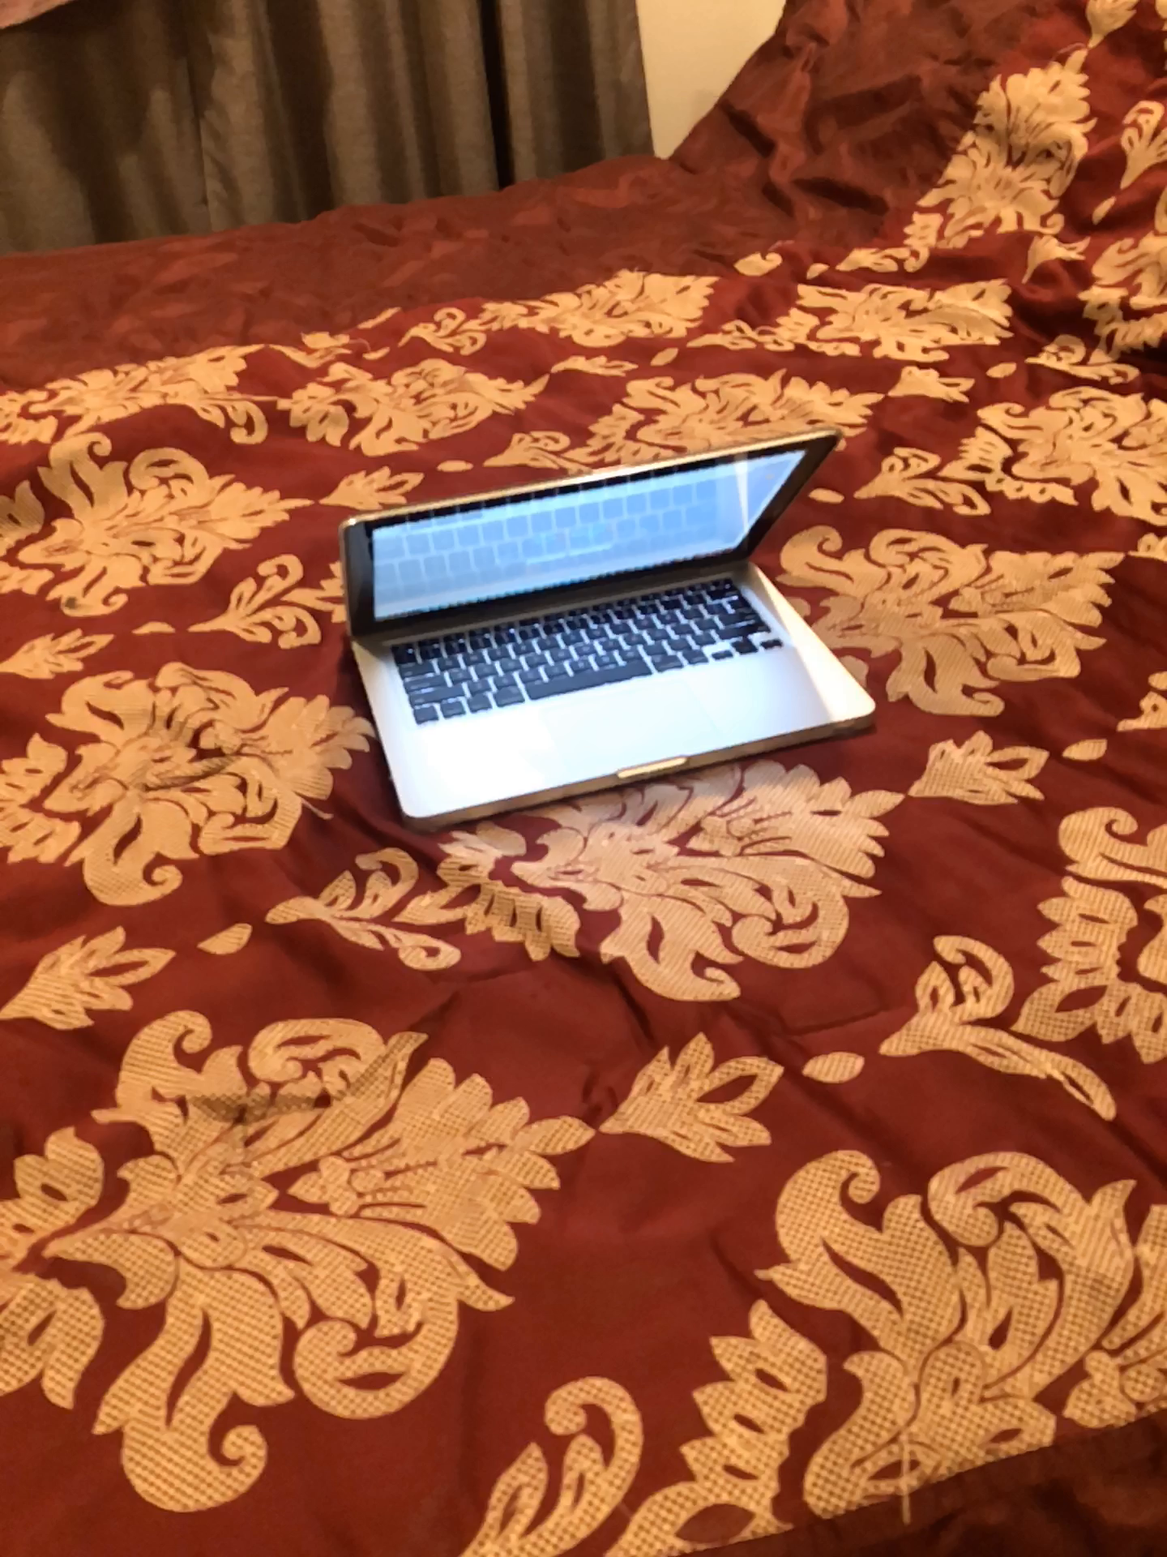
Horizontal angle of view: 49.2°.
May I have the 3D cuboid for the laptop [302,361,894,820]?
[{"bbox_3d":[0.004,-0.134,0.822,0.312,0.156,0.213,-13,39,-12],"label":"laptop"}]
